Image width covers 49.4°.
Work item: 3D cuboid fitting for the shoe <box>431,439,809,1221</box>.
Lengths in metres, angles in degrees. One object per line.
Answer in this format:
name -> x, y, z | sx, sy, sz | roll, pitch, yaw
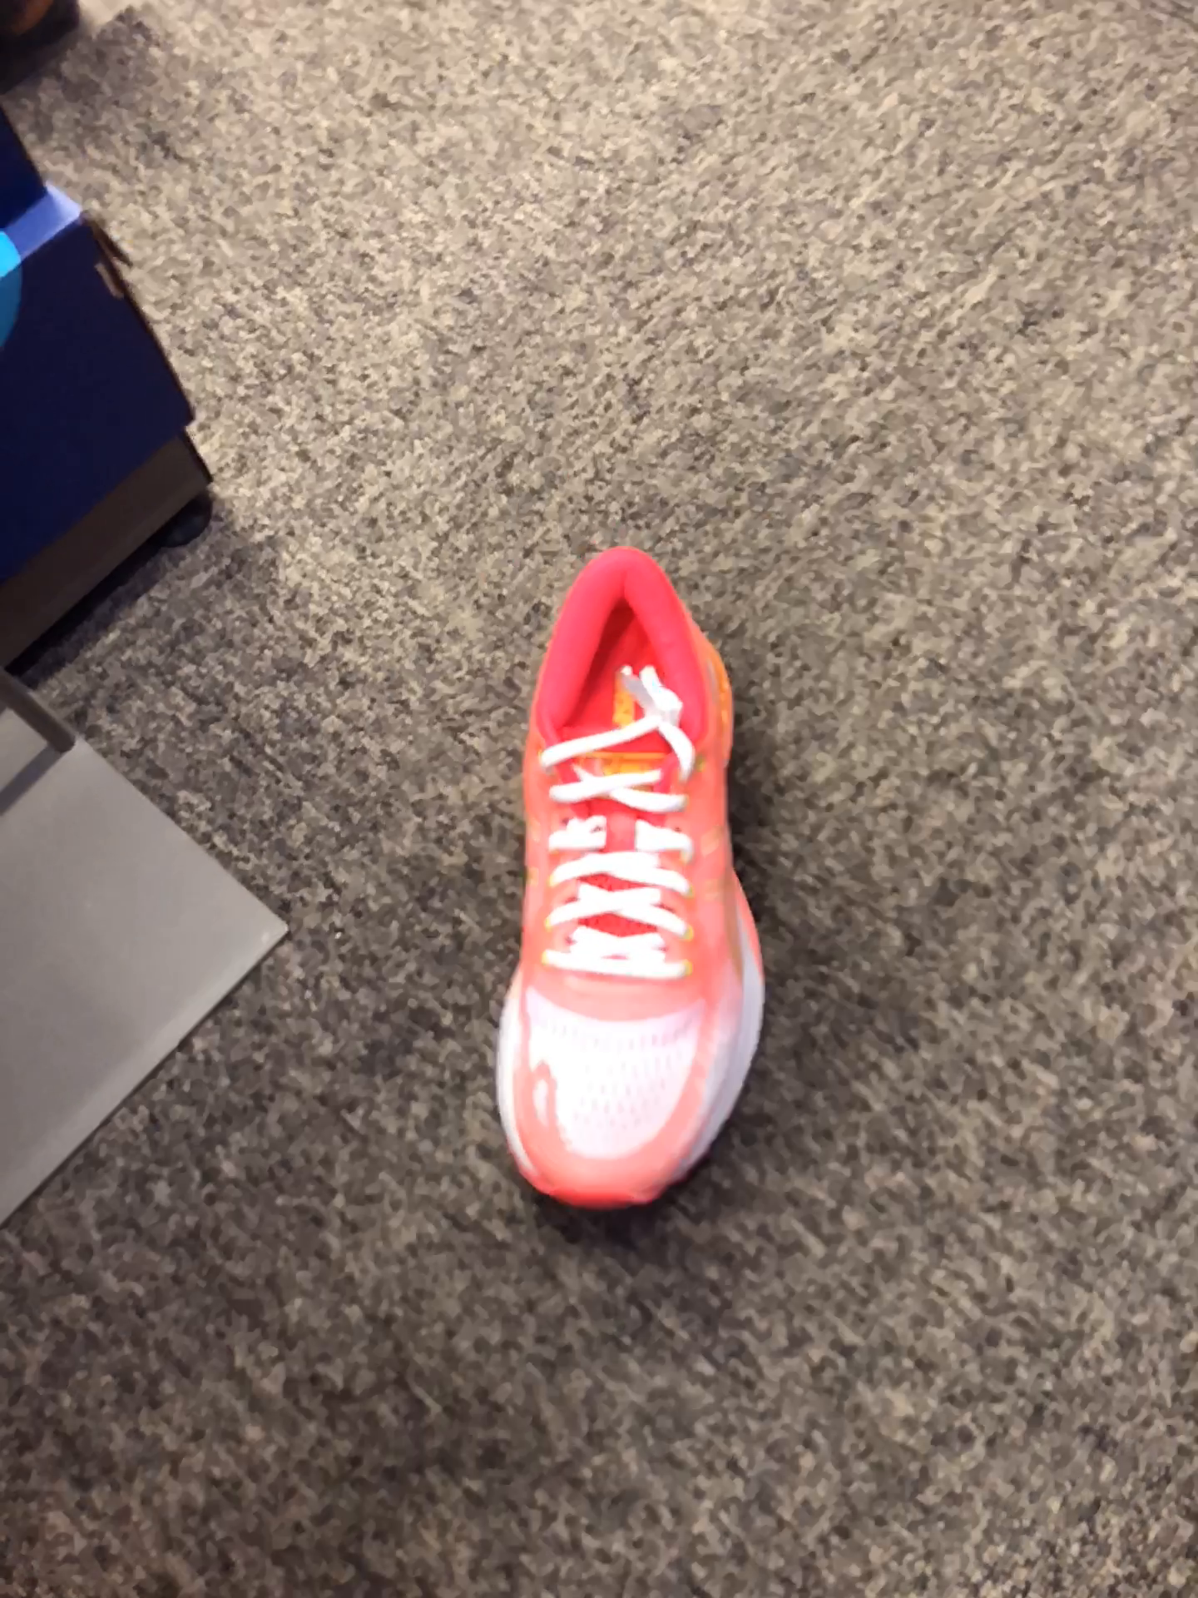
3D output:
shoe -> 0.019, 0.013, 0.503 | 0.107, 0.130, 0.269 | 3, 68, 6
